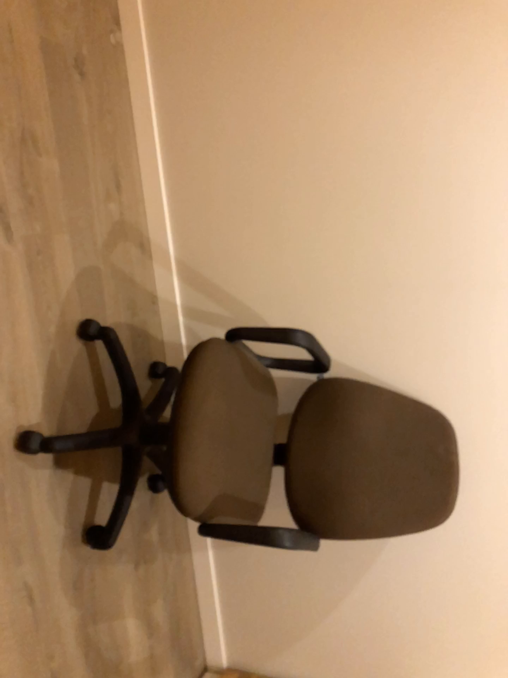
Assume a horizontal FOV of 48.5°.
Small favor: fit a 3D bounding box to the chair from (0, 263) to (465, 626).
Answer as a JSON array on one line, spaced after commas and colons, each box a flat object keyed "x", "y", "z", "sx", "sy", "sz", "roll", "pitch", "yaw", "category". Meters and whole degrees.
[{"x": 0.007, "y": 0.286, "z": 1.478, "sx": 0.713, "sy": 0.975, "sz": 0.631, "roll": 42, "pitch": 51, "yaw": -59, "category": "chair"}]
